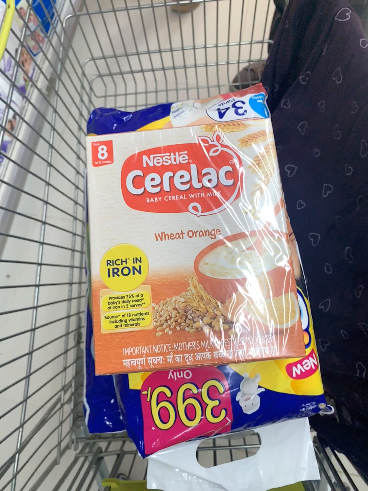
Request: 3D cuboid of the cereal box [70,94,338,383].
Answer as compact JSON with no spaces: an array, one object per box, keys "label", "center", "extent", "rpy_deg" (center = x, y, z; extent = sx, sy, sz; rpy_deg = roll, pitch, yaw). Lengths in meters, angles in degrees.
[{"label":"cereal box","center":[0.007,-0.006,0.290],"extent":[0.170,0.050,0.190],"rpy_deg":[-6,78,3]}]
